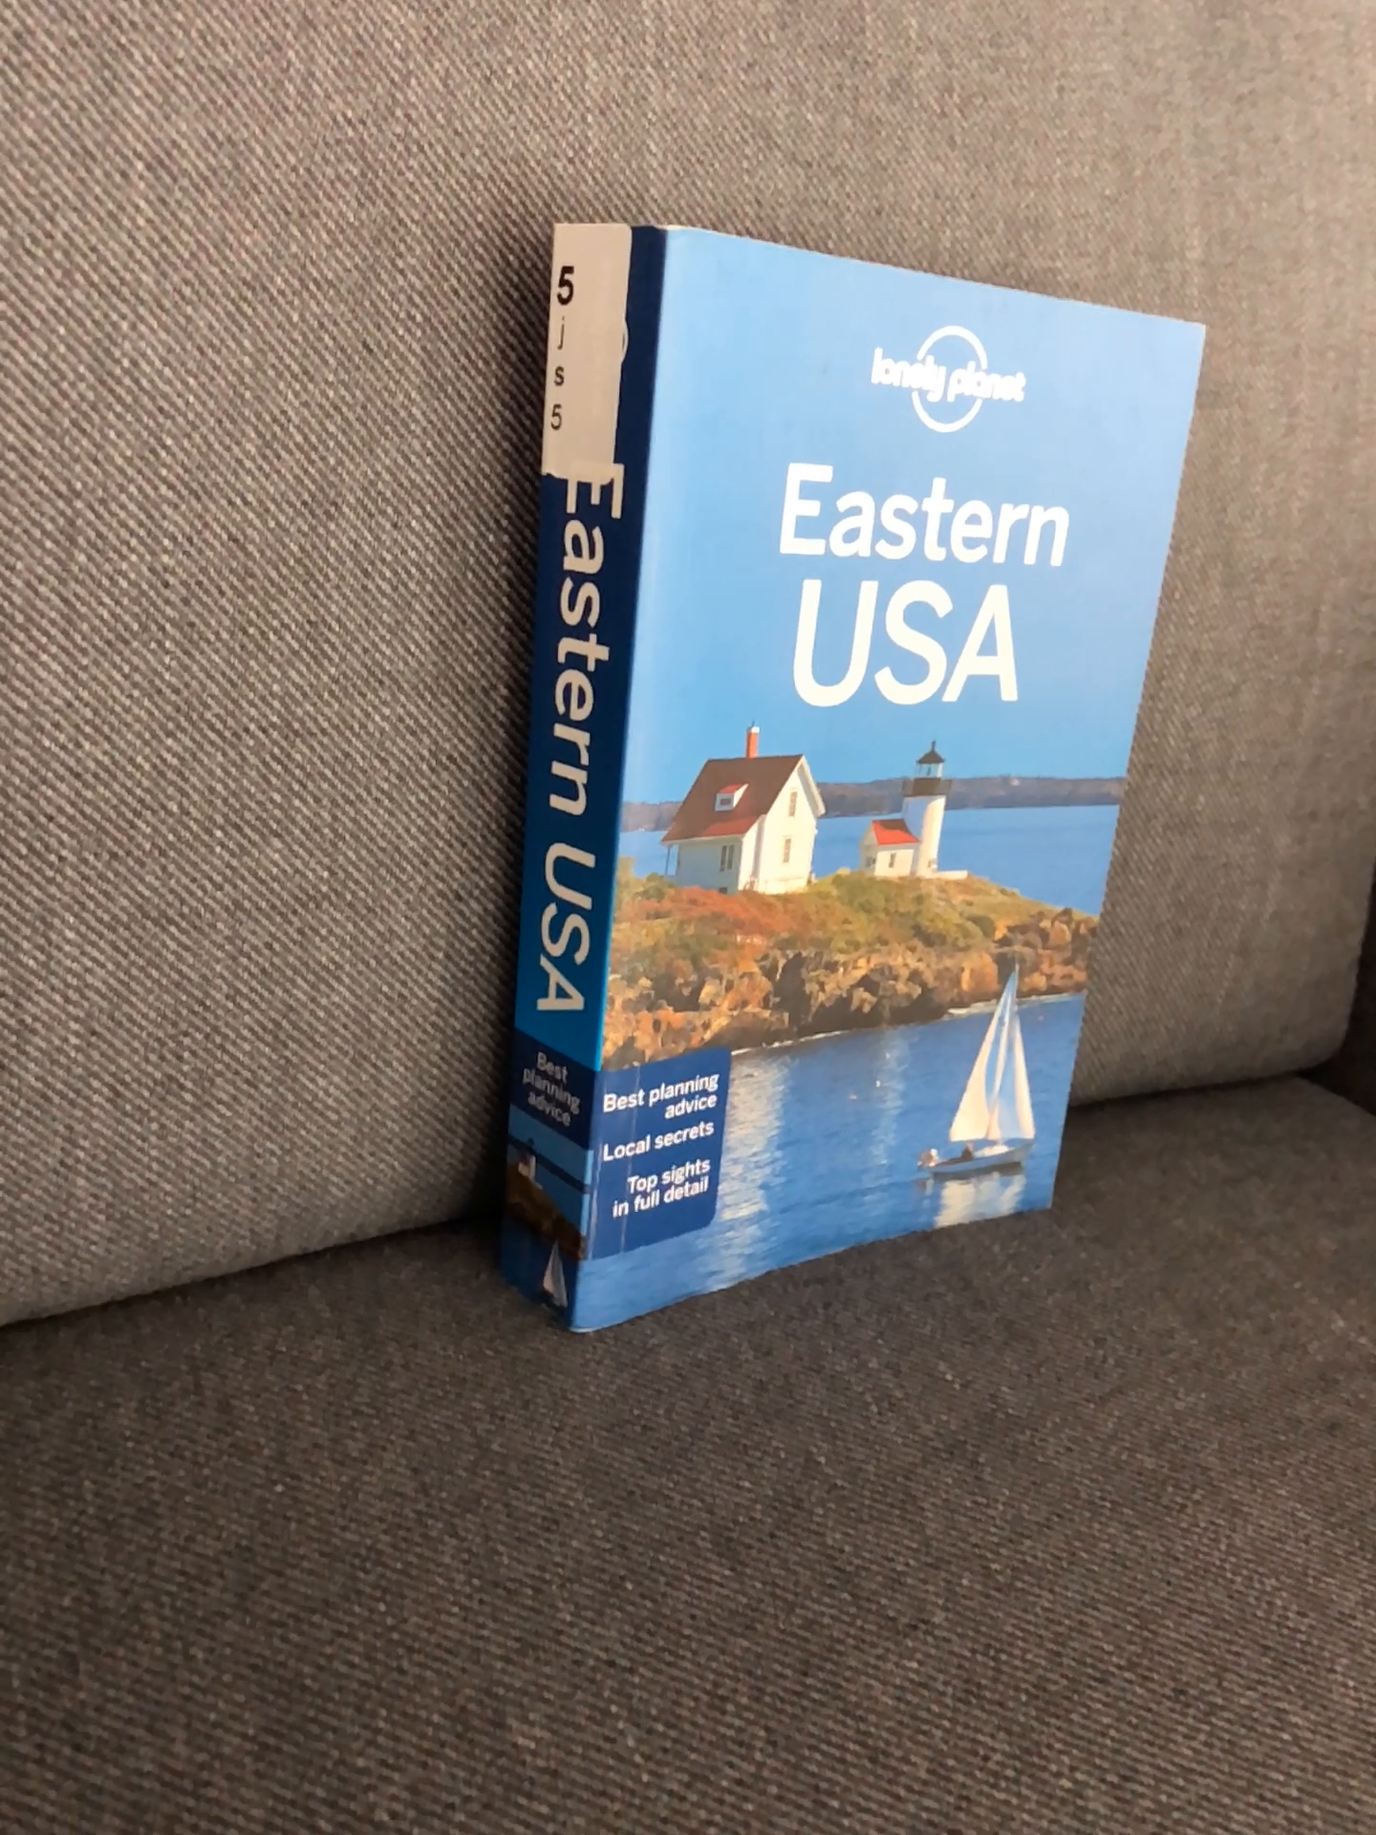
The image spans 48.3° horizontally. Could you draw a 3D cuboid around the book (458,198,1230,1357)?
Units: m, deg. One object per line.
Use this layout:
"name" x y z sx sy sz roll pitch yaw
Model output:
"book" 0.028 -0.024 0.308 0.135 0.200 0.039 -5 20 -31
